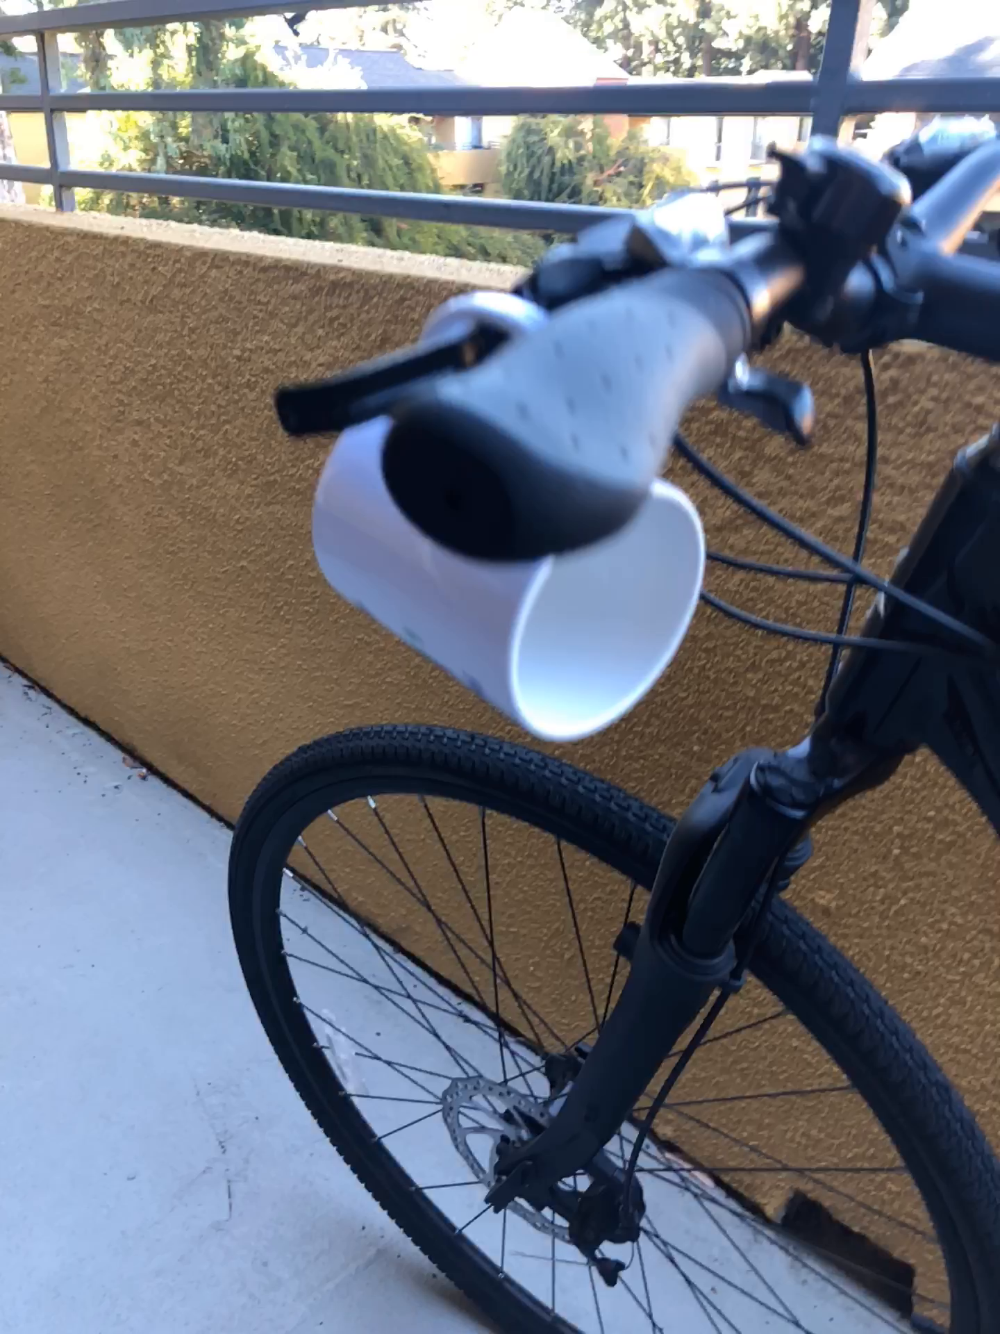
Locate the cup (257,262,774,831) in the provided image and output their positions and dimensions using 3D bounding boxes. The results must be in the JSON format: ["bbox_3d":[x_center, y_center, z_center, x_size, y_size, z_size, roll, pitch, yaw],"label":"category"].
[{"bbox_3d":[0.001,-0.045,0.336,0.090,0.119,0.120,-21,36,-29],"label":"cup"}]
